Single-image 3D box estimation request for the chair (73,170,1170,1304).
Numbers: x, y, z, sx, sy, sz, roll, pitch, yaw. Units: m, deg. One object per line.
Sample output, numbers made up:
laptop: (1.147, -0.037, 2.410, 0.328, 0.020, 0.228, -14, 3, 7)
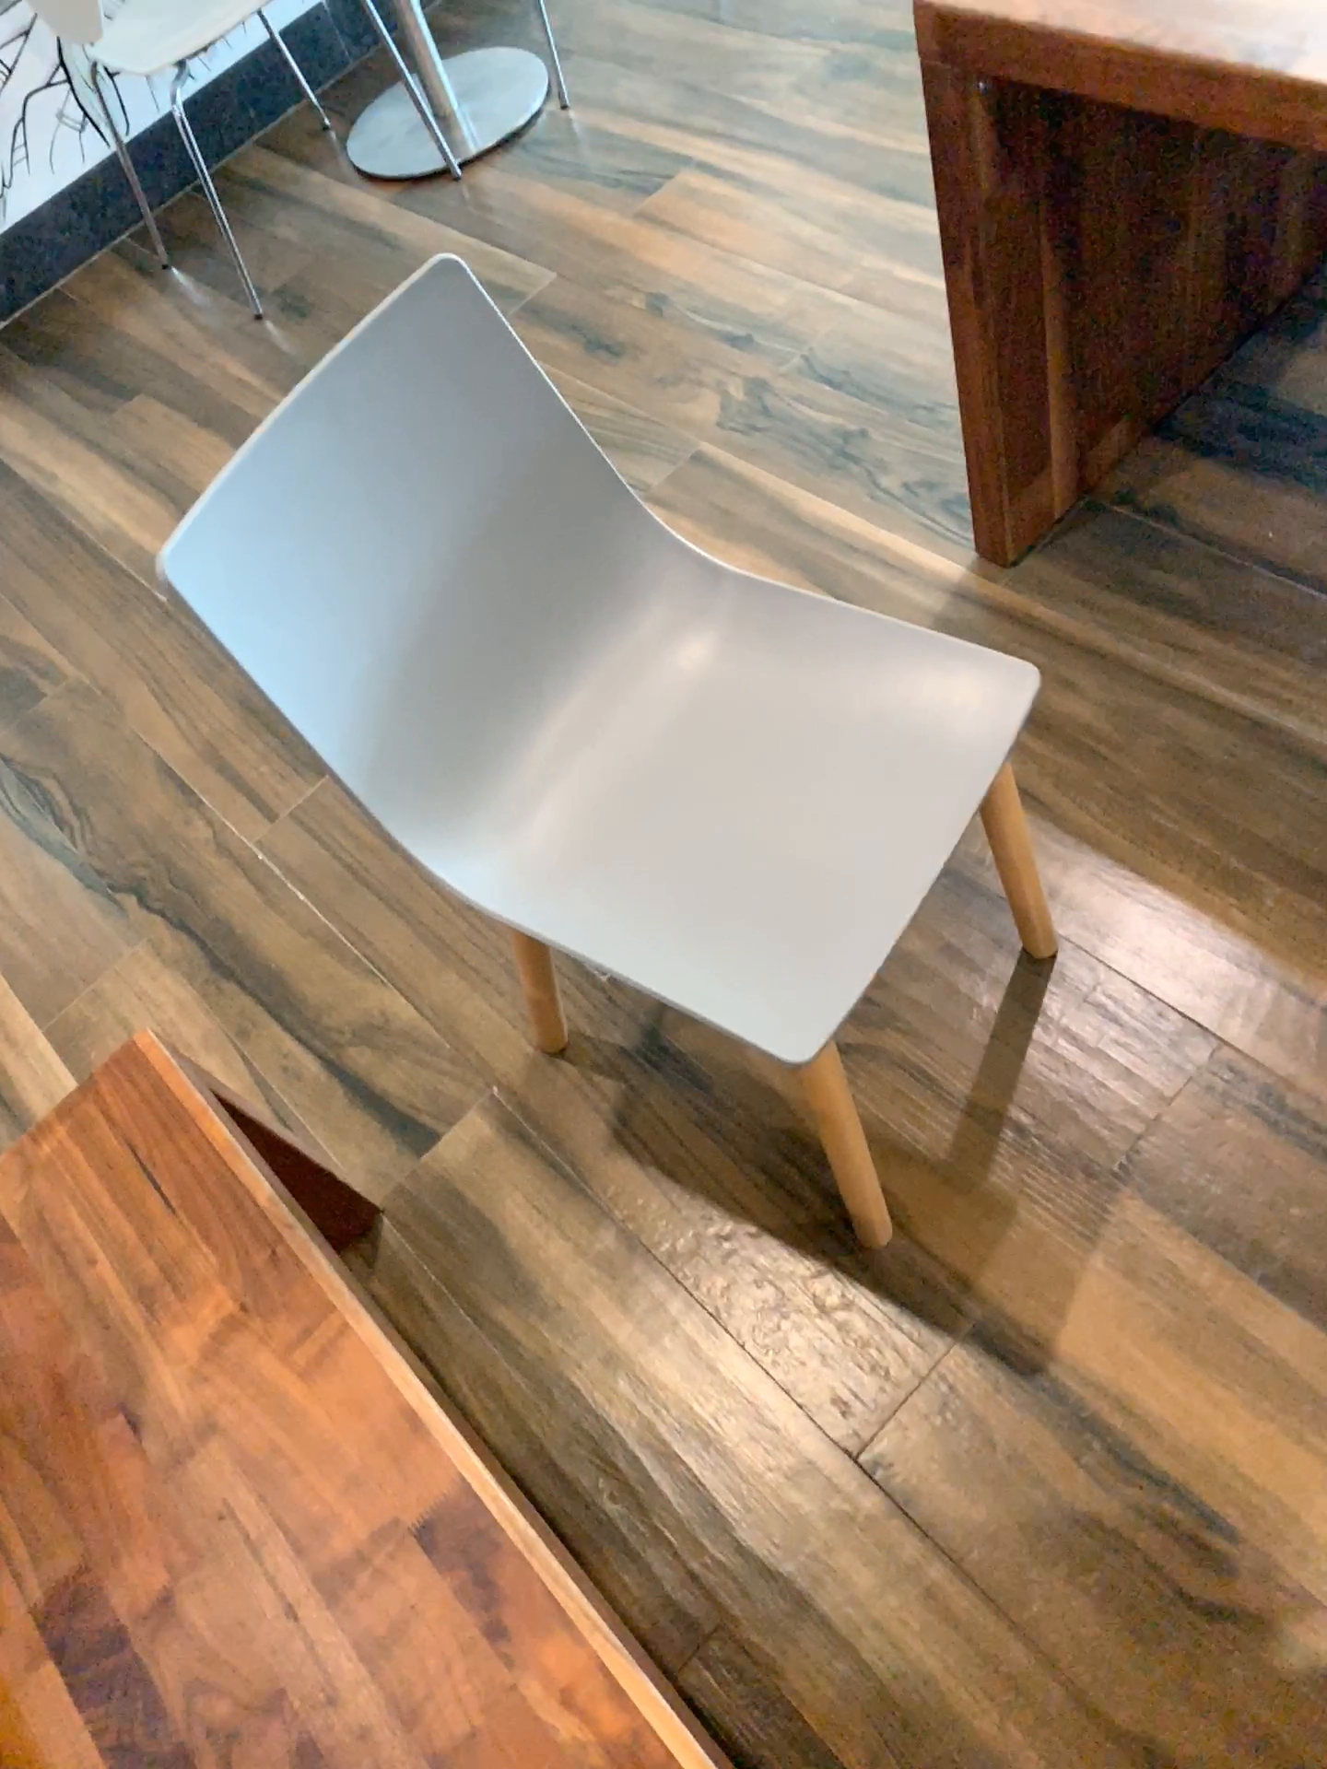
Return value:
chair: (0.040, -0.101, 1.161, 0.562, 0.695, 0.501, 26, 70, 31)
